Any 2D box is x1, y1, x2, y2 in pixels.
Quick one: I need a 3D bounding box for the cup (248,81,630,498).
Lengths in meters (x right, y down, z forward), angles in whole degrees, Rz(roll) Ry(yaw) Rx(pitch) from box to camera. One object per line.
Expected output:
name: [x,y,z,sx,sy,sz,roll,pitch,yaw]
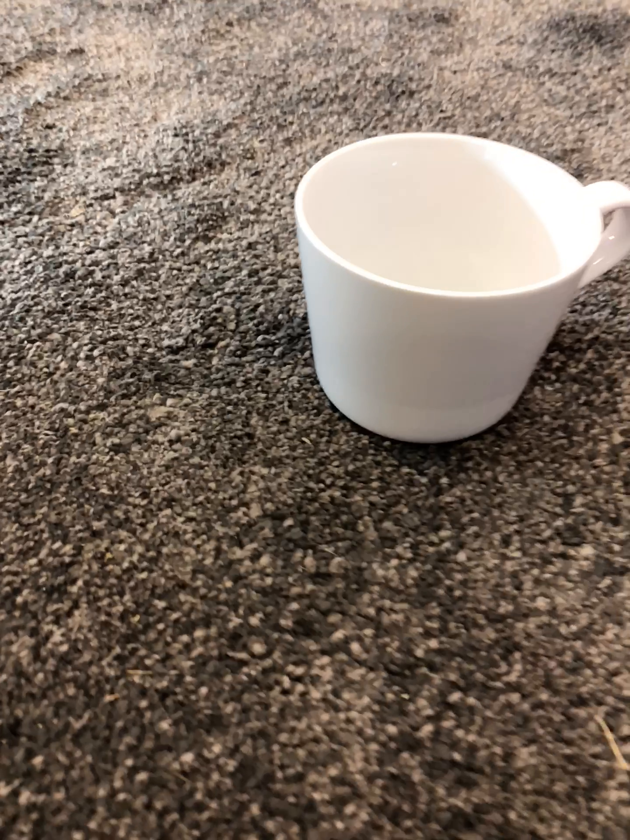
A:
cup: [0.060,-0.054,0.257,0.140,0.080,0.100,-16,50,-14]
